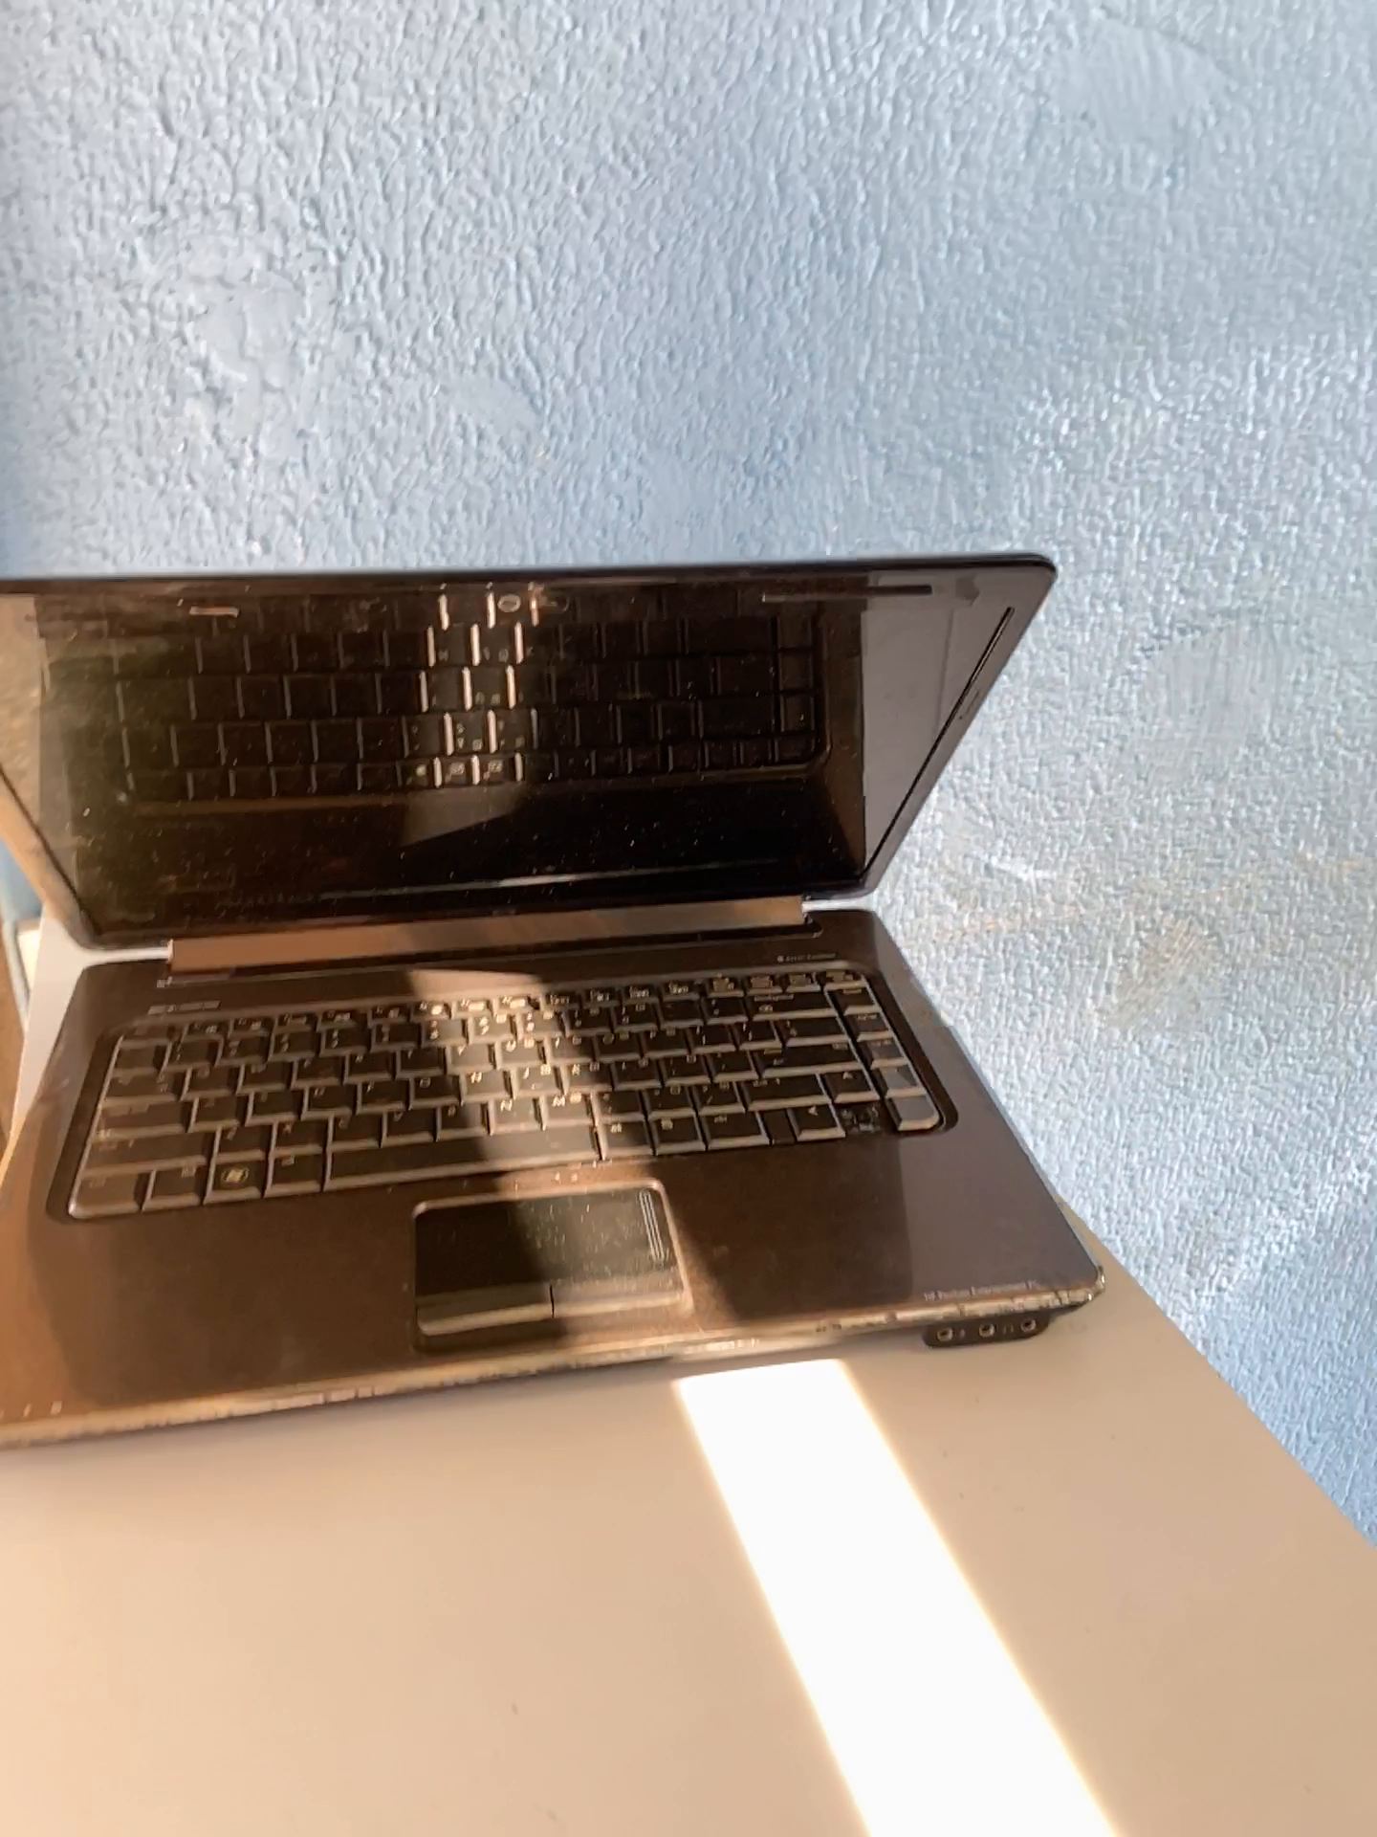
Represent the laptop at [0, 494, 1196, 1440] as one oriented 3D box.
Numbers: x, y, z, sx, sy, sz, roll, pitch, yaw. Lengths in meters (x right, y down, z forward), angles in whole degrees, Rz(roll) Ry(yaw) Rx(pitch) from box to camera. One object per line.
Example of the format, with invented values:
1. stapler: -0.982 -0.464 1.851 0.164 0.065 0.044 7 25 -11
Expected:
1. laptop: -0.063 -0.015 0.479 0.344 0.190 0.246 -4 28 -9
